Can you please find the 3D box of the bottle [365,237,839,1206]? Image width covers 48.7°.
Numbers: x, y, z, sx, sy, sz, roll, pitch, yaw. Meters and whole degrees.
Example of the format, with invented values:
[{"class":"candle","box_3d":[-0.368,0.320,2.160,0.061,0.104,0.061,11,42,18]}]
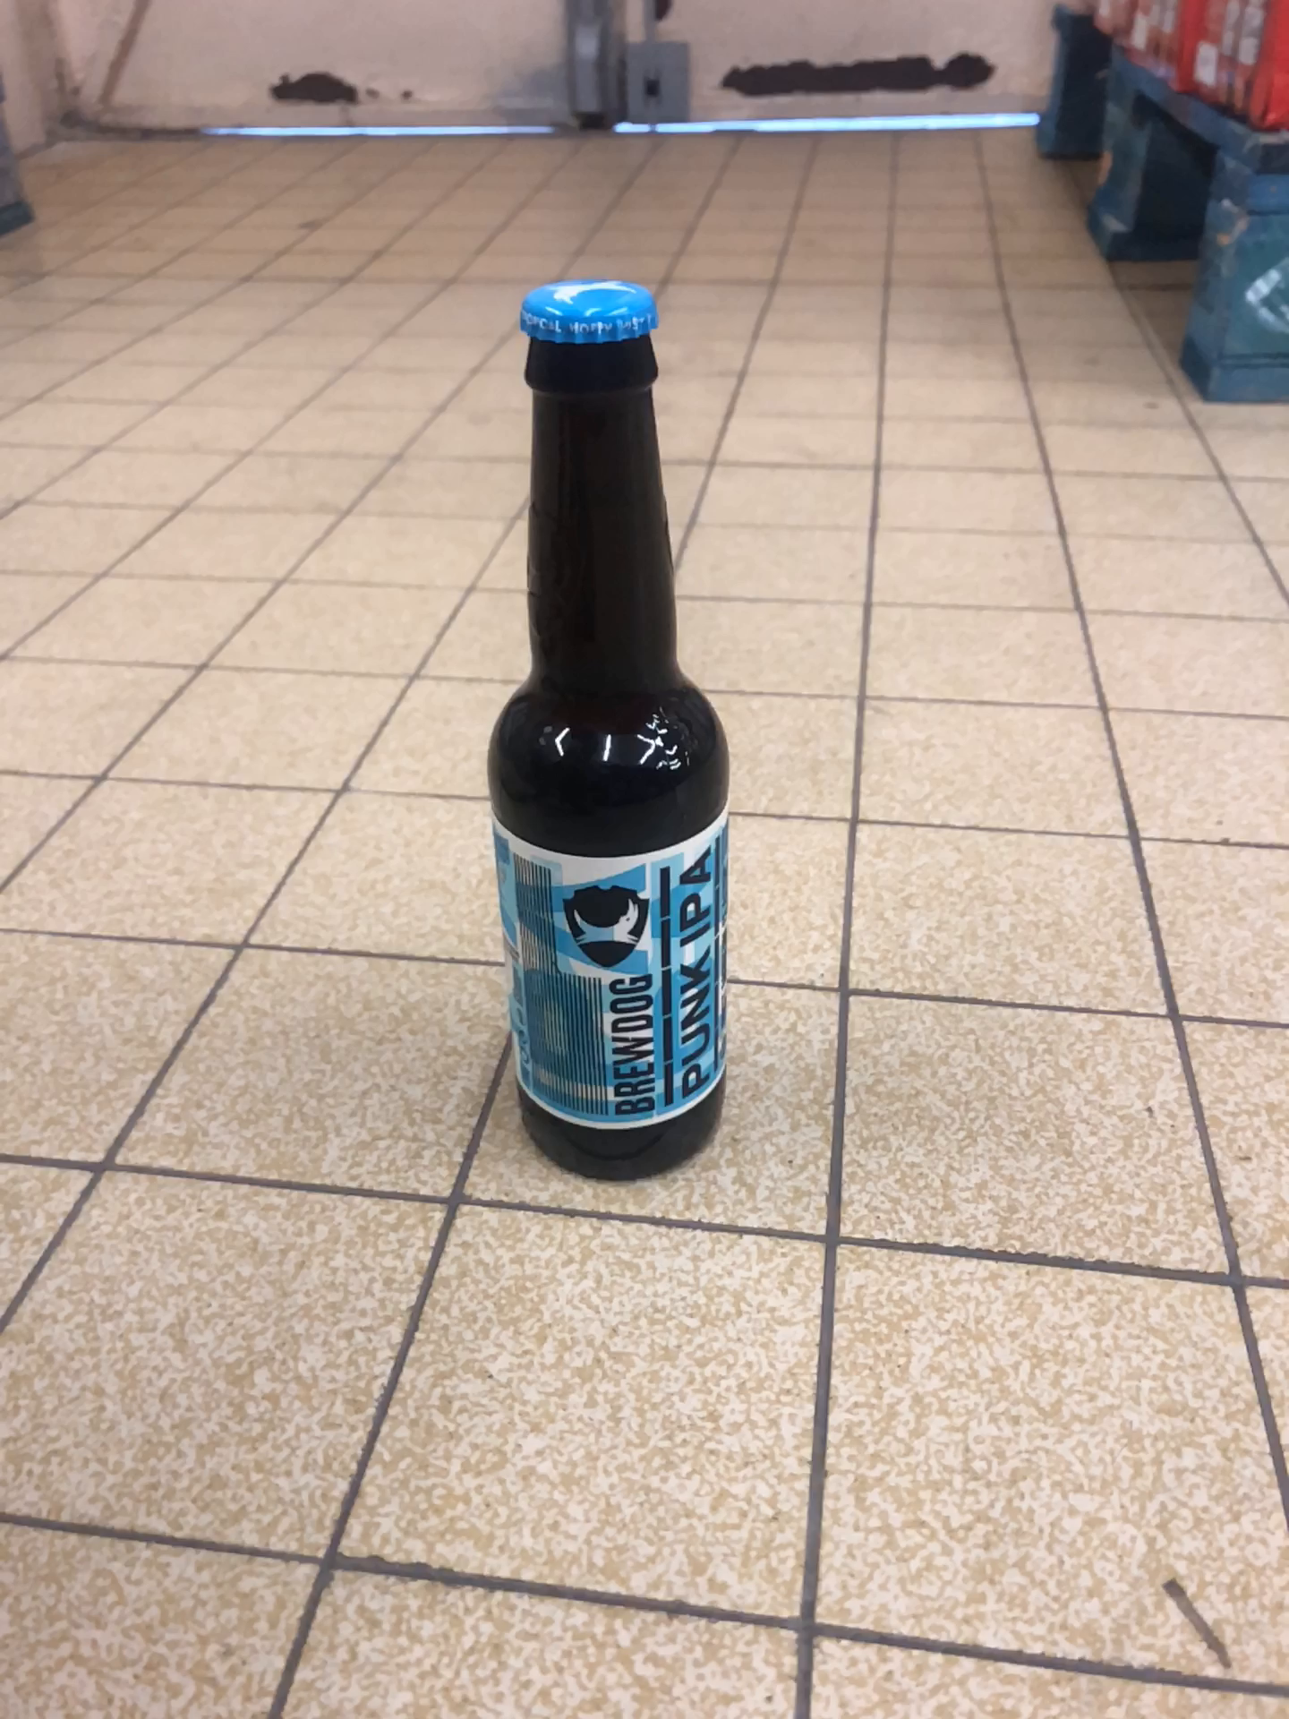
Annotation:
[{"class":"bottle","box_3d":[-0.008,-0.027,0.341,0.070,0.209,0.070,-1,33,1]}]
